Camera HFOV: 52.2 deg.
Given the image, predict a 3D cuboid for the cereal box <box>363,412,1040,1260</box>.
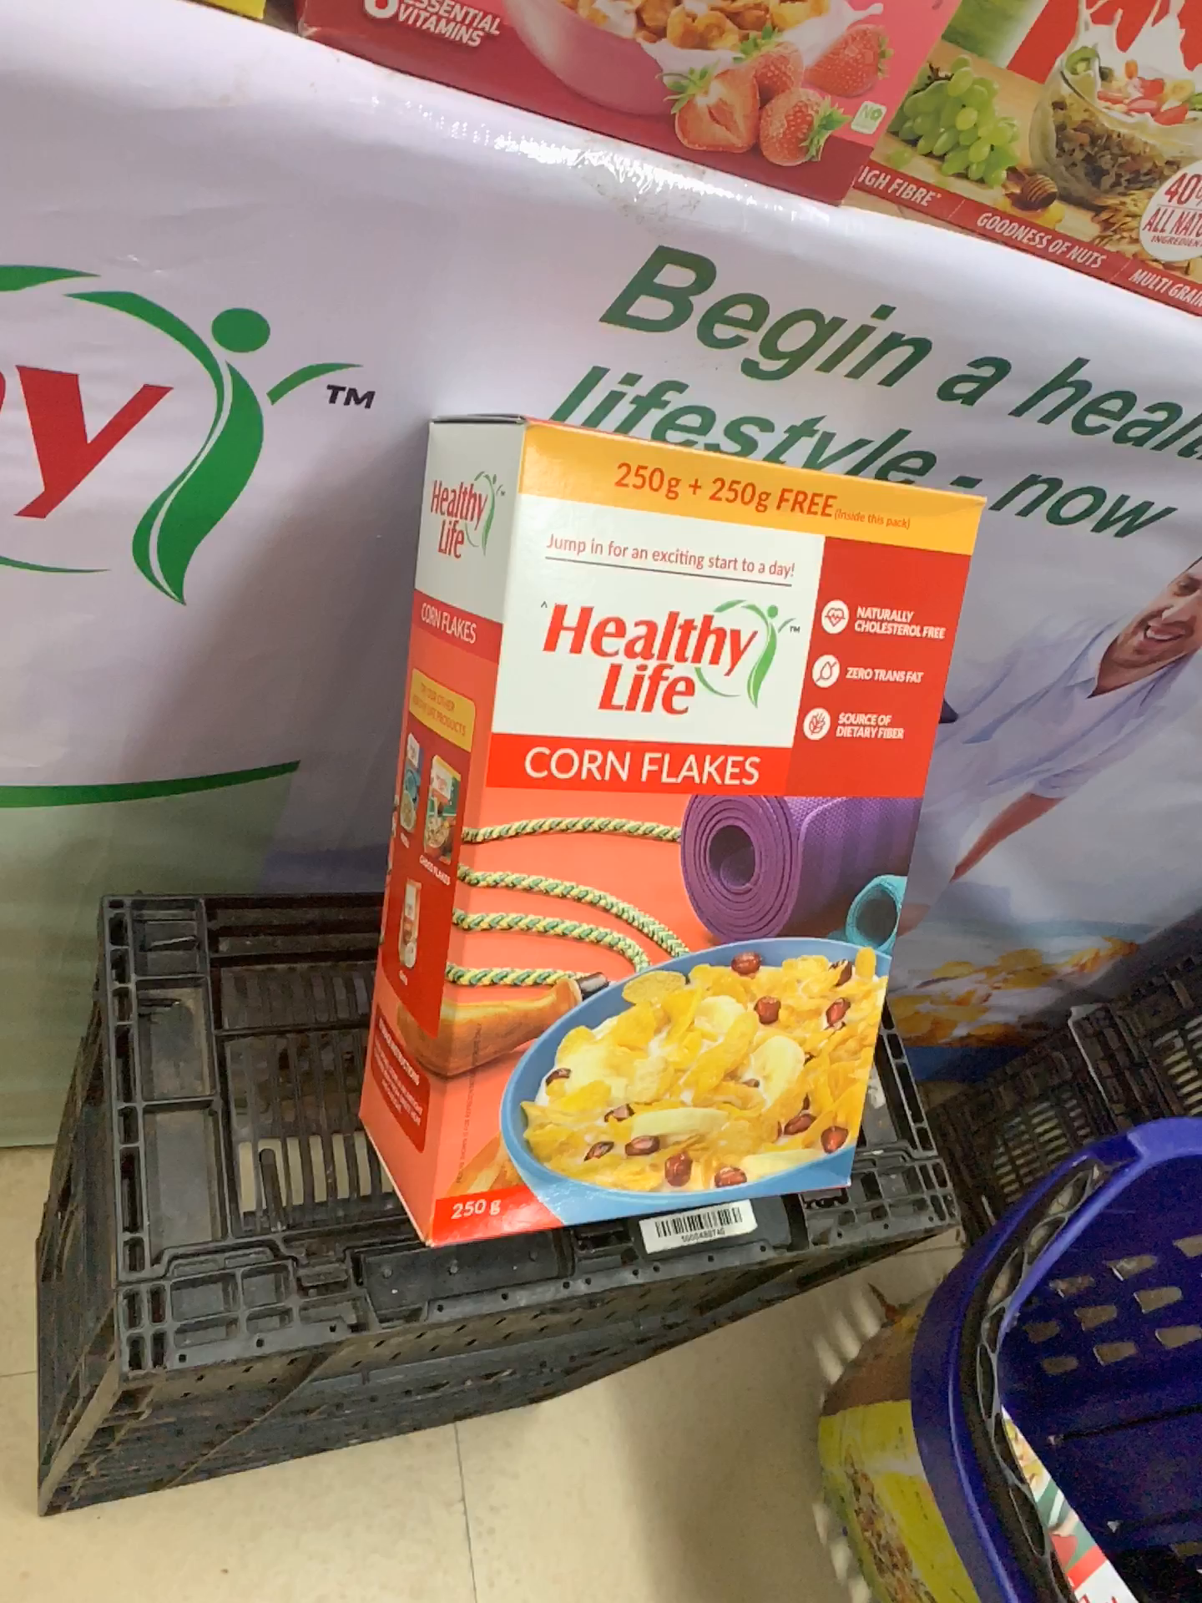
[{"bbox_3d":[0.032,0.012,0.472,0.200,0.280,0.090,2,14,-26],"label":"cereal box"}]
